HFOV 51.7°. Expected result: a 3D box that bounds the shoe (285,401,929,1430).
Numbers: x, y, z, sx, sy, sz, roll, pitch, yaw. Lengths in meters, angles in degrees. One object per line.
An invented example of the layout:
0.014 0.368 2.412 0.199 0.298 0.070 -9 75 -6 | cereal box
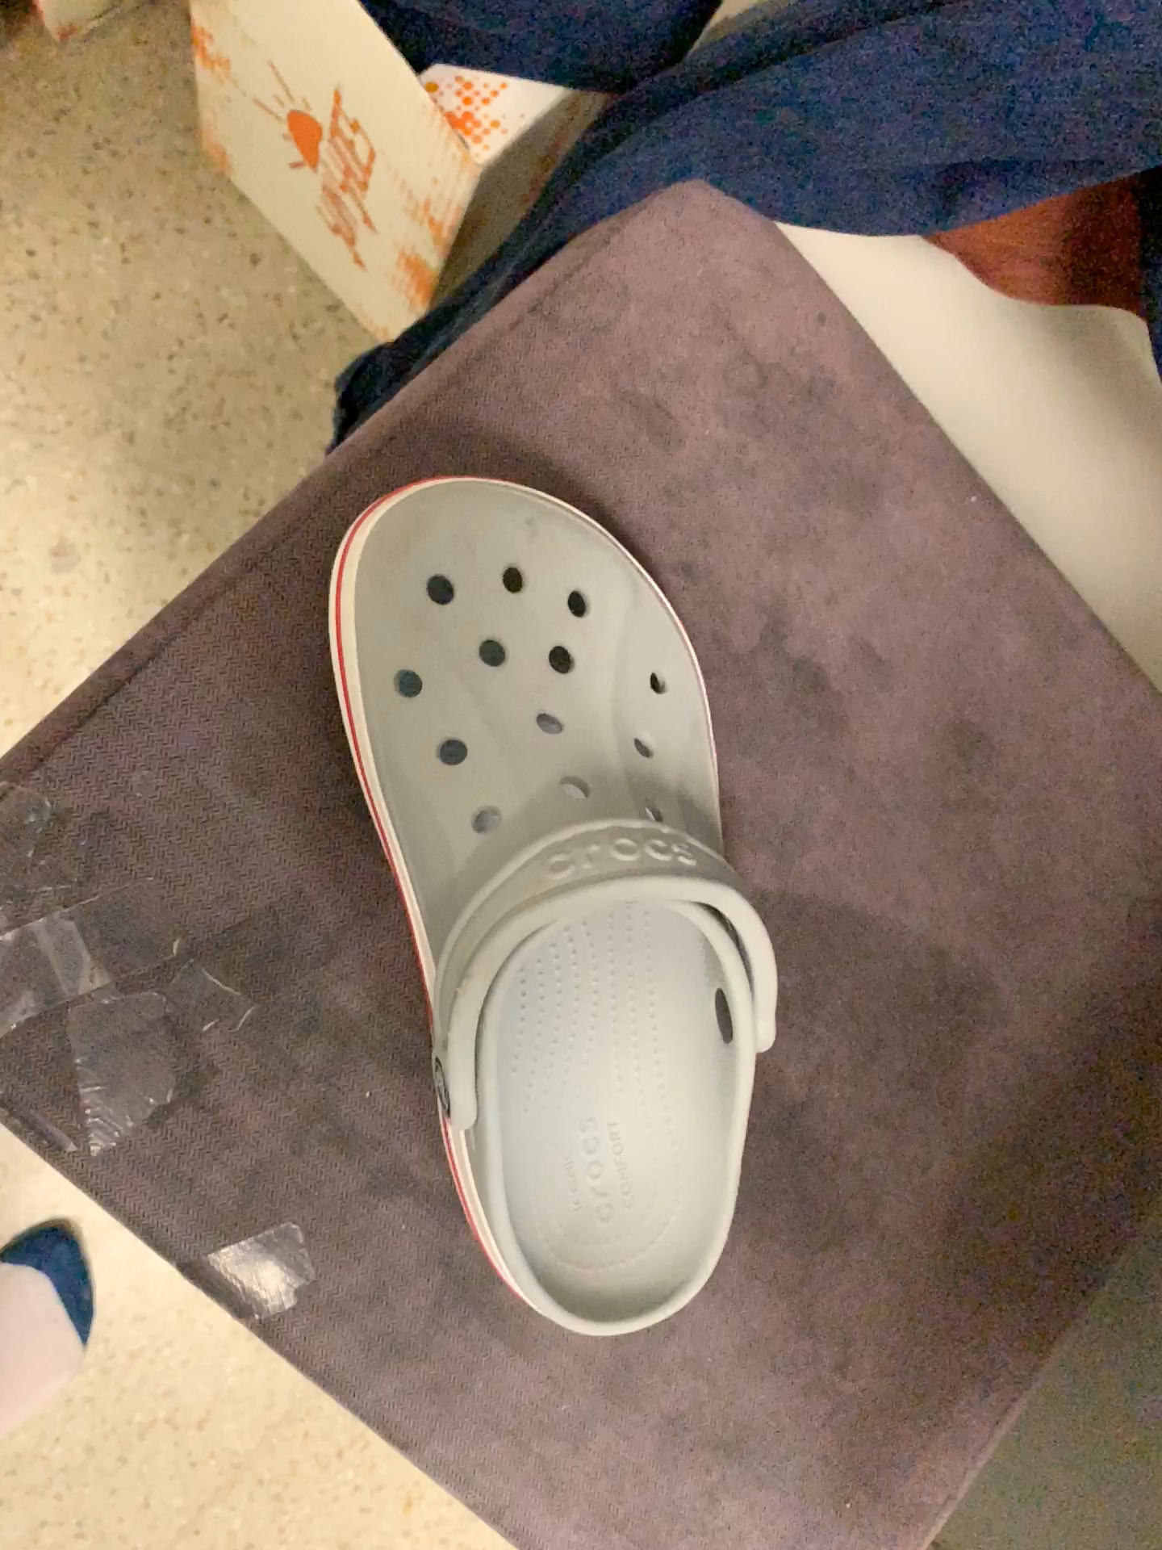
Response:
0.004 0.031 0.340 0.119 0.075 0.238 -13 94 -16 | shoe
